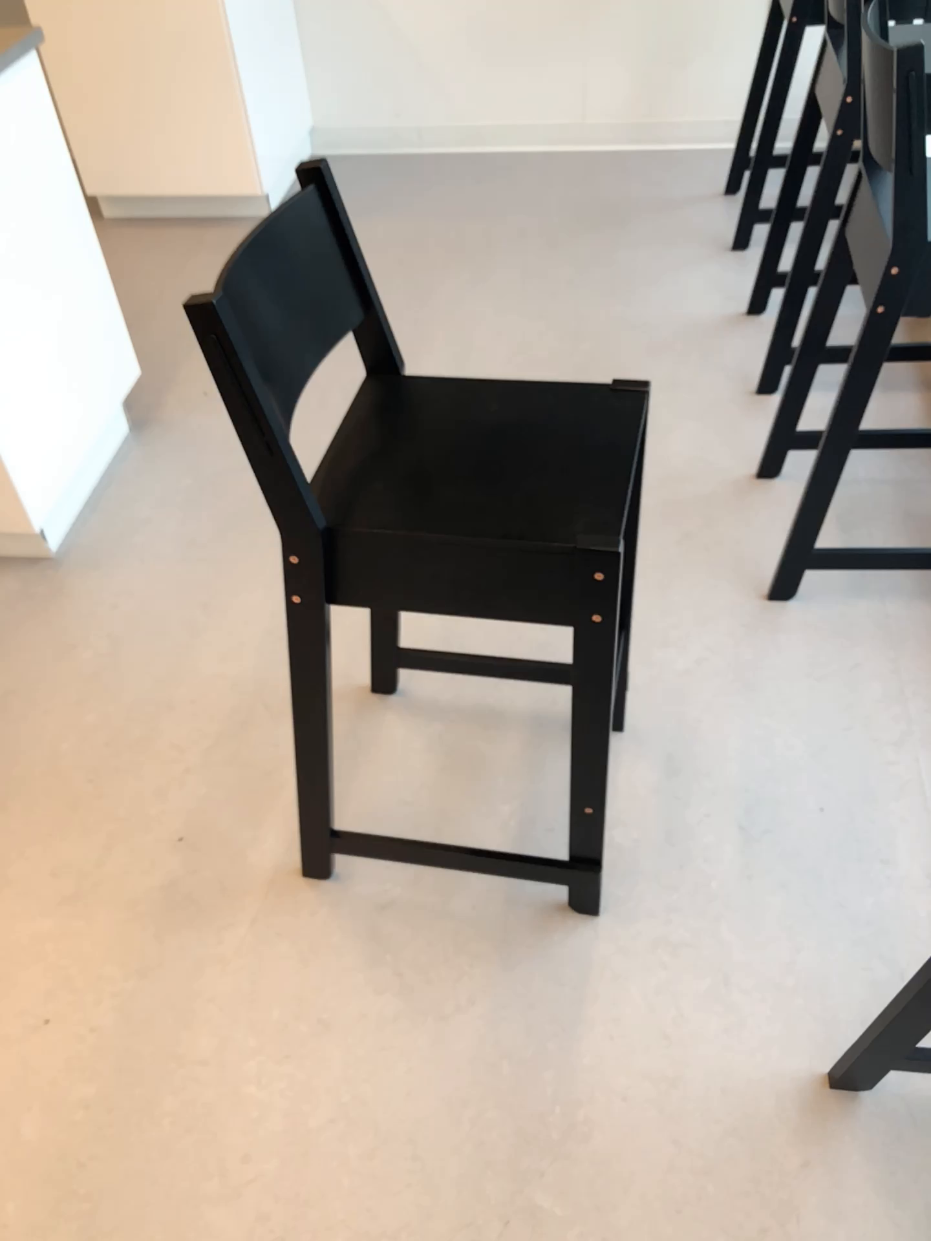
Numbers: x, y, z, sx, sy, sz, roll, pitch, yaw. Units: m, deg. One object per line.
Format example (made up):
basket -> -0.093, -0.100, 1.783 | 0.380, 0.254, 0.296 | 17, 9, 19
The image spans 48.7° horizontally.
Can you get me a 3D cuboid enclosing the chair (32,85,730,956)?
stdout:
chair -> -0.006, -0.092, 1.384 | 0.580, 0.993, 0.553 | 6, 46, 12
